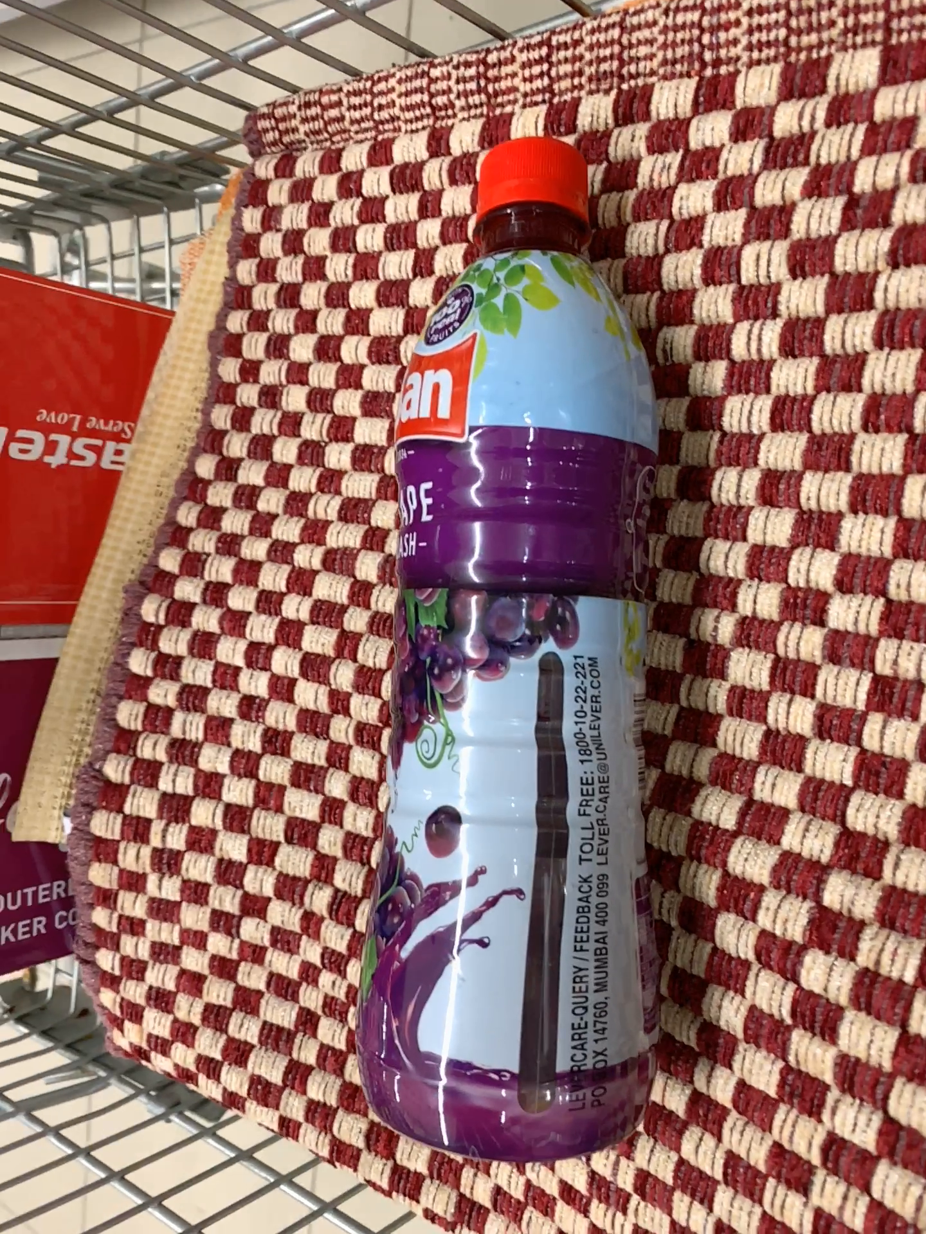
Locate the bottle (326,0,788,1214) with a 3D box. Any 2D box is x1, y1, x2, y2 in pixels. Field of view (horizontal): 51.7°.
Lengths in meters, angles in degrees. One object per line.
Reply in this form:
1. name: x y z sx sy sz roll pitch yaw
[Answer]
1. bottle: 0.016 -0.006 0.228 0.080 0.080 0.240 167 106 -80
